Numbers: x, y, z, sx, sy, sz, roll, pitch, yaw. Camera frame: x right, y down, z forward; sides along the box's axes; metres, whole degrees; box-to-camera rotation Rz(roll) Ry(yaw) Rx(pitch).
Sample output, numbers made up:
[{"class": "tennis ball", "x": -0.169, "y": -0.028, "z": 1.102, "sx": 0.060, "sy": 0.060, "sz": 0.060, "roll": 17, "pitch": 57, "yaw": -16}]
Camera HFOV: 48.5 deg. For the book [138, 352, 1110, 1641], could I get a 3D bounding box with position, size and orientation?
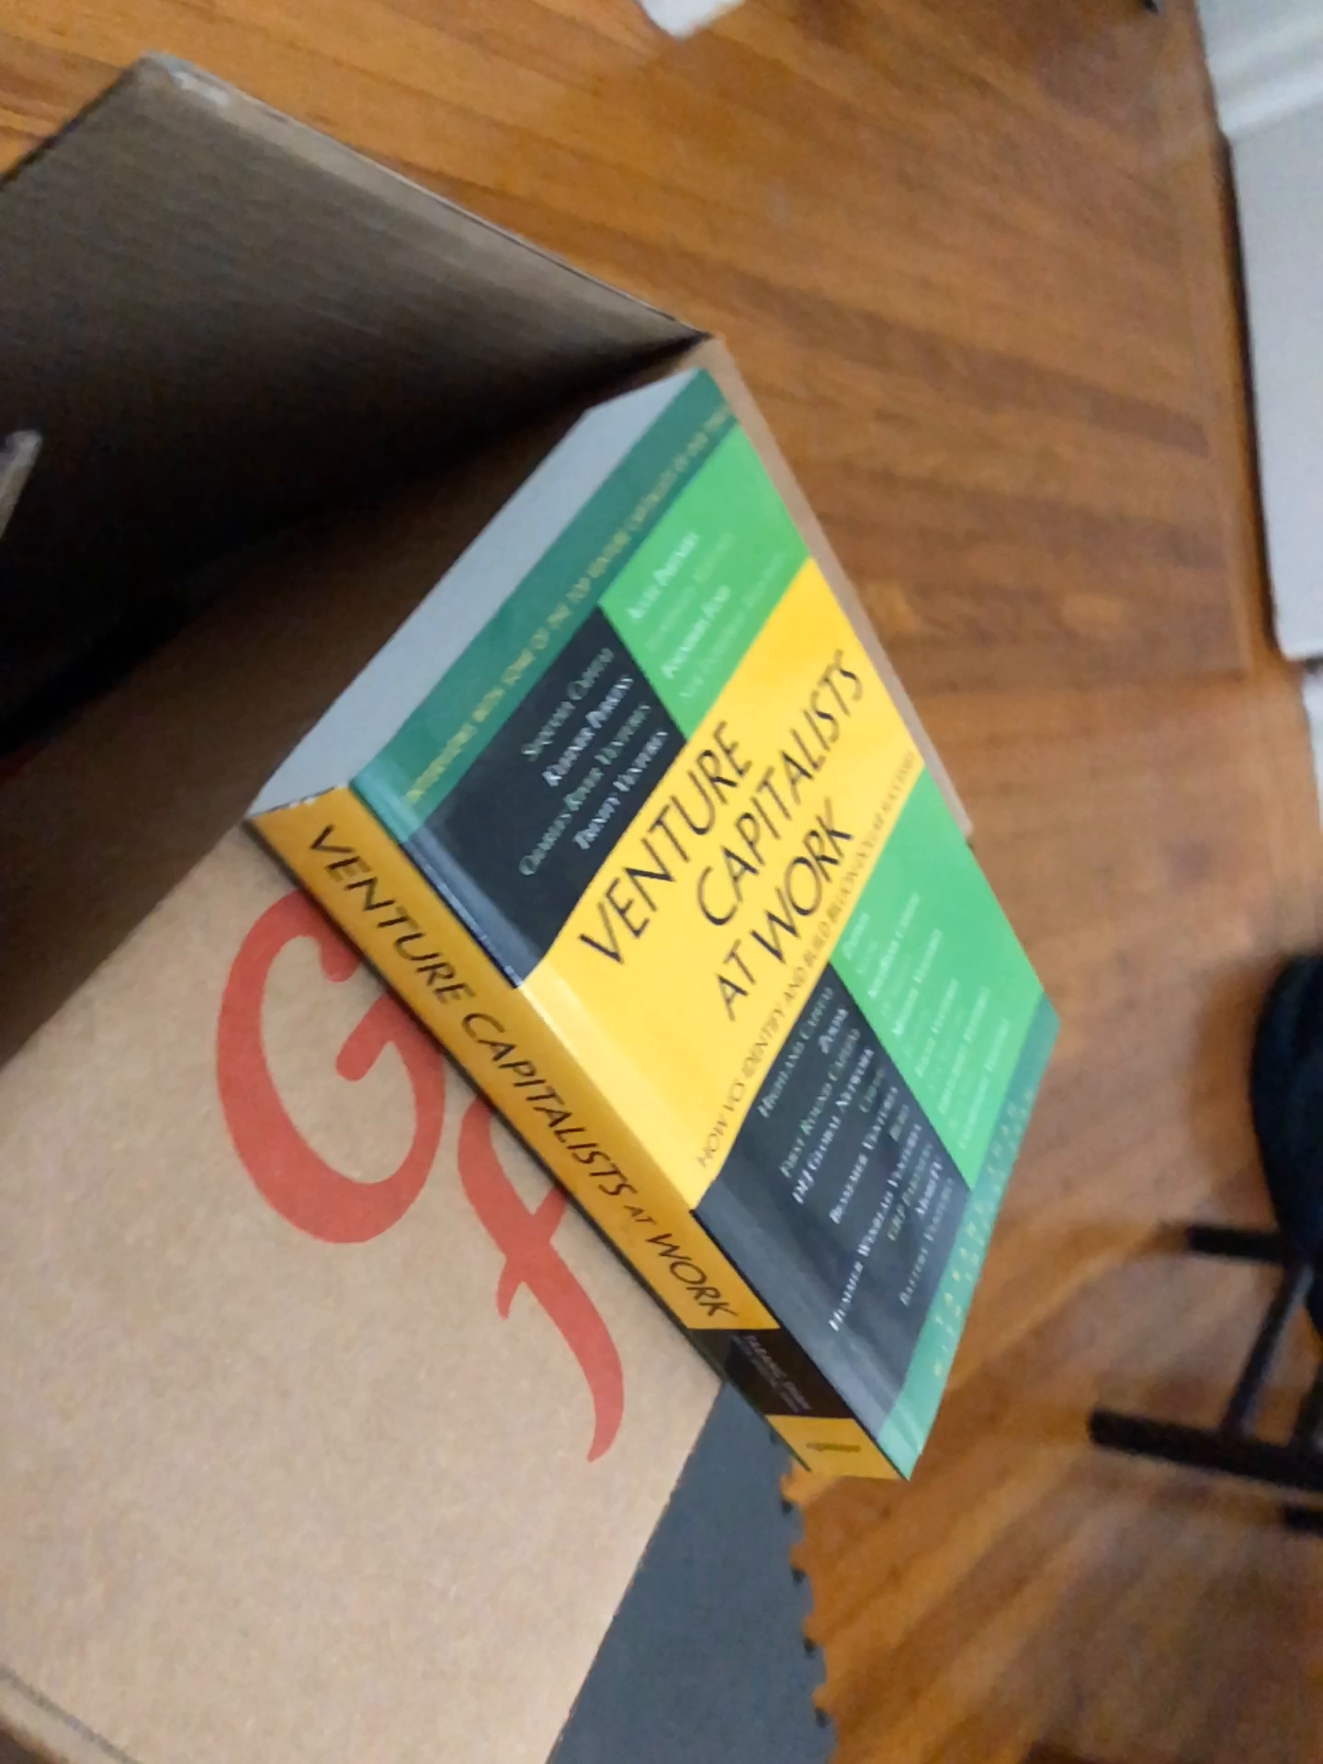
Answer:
[{"class": "book", "x": 0.024, "y": 0.035, "z": 0.348, "sx": 0.260, "sy": 0.040, "sz": 0.161, "roll": 56, "pitch": 47, "yaw": -29}]
